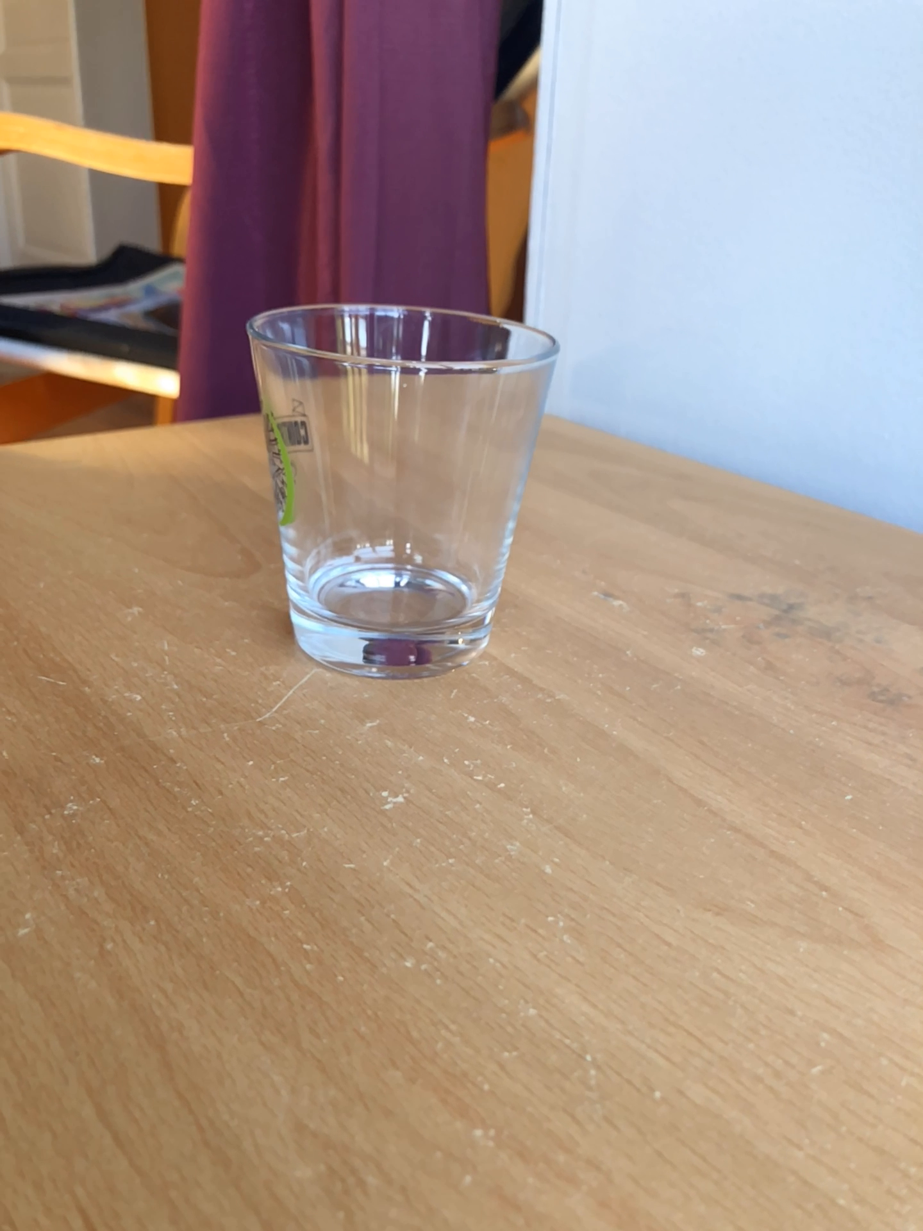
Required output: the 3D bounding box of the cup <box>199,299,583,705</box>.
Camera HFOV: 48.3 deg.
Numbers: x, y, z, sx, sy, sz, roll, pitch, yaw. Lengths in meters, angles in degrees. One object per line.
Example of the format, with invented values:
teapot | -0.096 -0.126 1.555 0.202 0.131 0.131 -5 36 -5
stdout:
cup | -0.014 -0.032 0.252 0.076 0.073 0.079 3 23 -1
